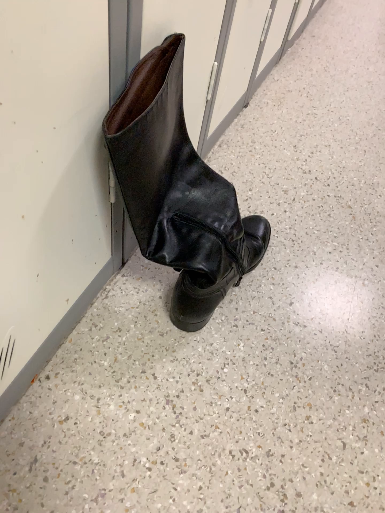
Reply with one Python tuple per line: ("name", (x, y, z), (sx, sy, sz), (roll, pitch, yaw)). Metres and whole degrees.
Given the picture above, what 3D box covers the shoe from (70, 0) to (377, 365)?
("shoe", (0.037, -0.096, 0.508), (0.168, 0.331, 0.315), (30, 53, 15))
